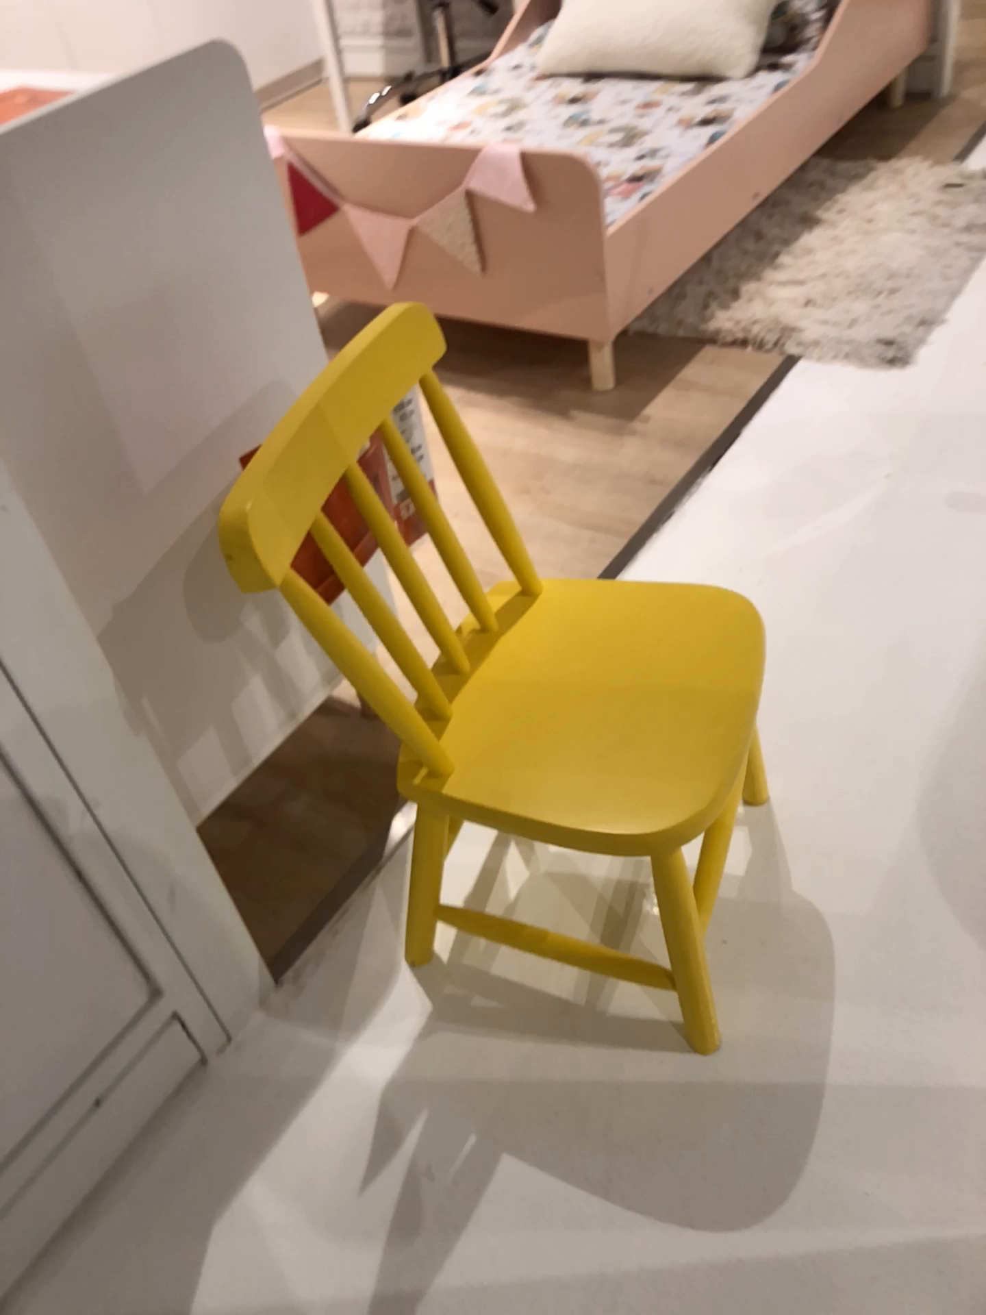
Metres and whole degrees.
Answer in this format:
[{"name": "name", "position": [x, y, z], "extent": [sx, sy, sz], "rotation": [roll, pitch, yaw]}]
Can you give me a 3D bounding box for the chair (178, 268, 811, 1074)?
[{"name": "chair", "position": [0.065, 0.017, 0.976], "extent": [0.370, 0.576, 0.382], "rotation": [5, 44, 18]}]
